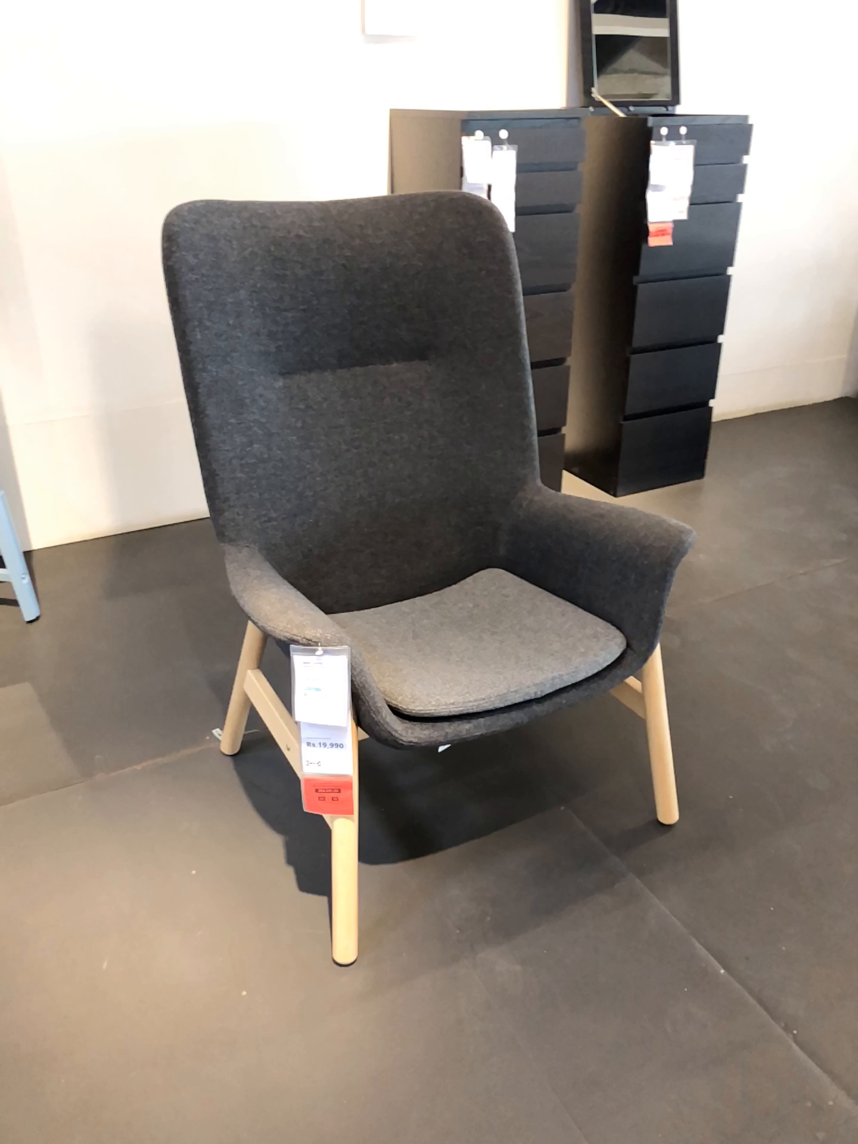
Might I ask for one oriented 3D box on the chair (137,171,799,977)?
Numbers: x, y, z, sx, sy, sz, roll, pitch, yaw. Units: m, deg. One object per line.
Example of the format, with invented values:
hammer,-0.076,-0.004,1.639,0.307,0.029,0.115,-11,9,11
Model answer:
chair,0.013,-0.082,1.623,0.721,1.064,0.713,-13,29,-25
